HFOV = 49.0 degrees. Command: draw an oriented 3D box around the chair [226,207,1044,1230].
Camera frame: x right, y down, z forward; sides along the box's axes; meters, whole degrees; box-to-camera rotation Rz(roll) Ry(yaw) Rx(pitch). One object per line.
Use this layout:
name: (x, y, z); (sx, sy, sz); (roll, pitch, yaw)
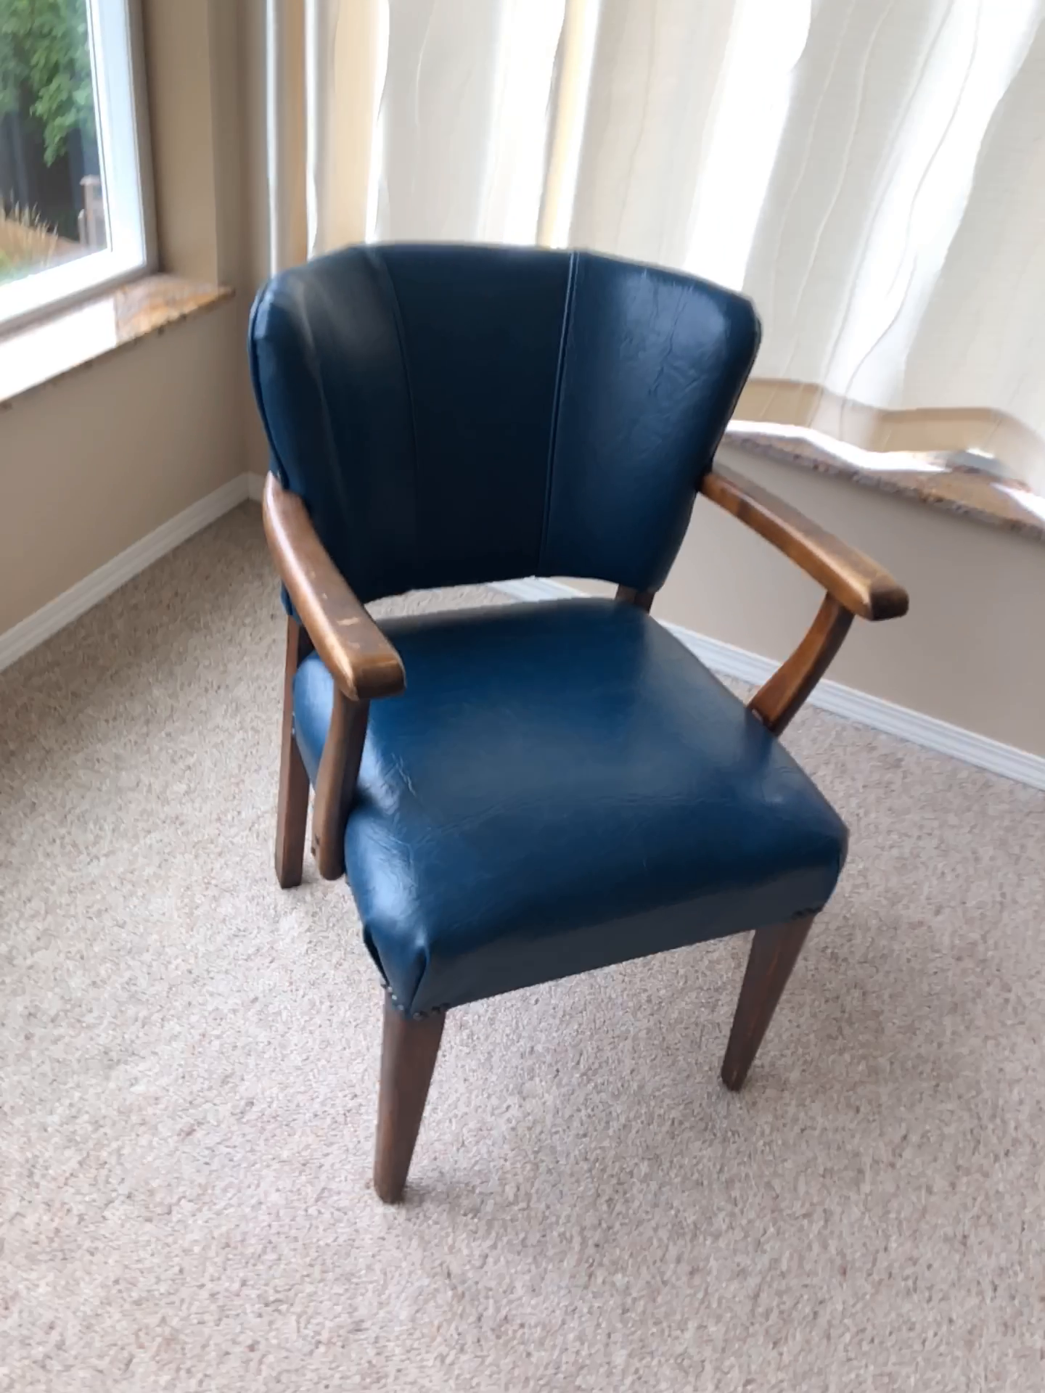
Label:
chair: (0.031, 0.007, 1.179); (0.531, 0.797, 0.561); (-9, 42, -22)
